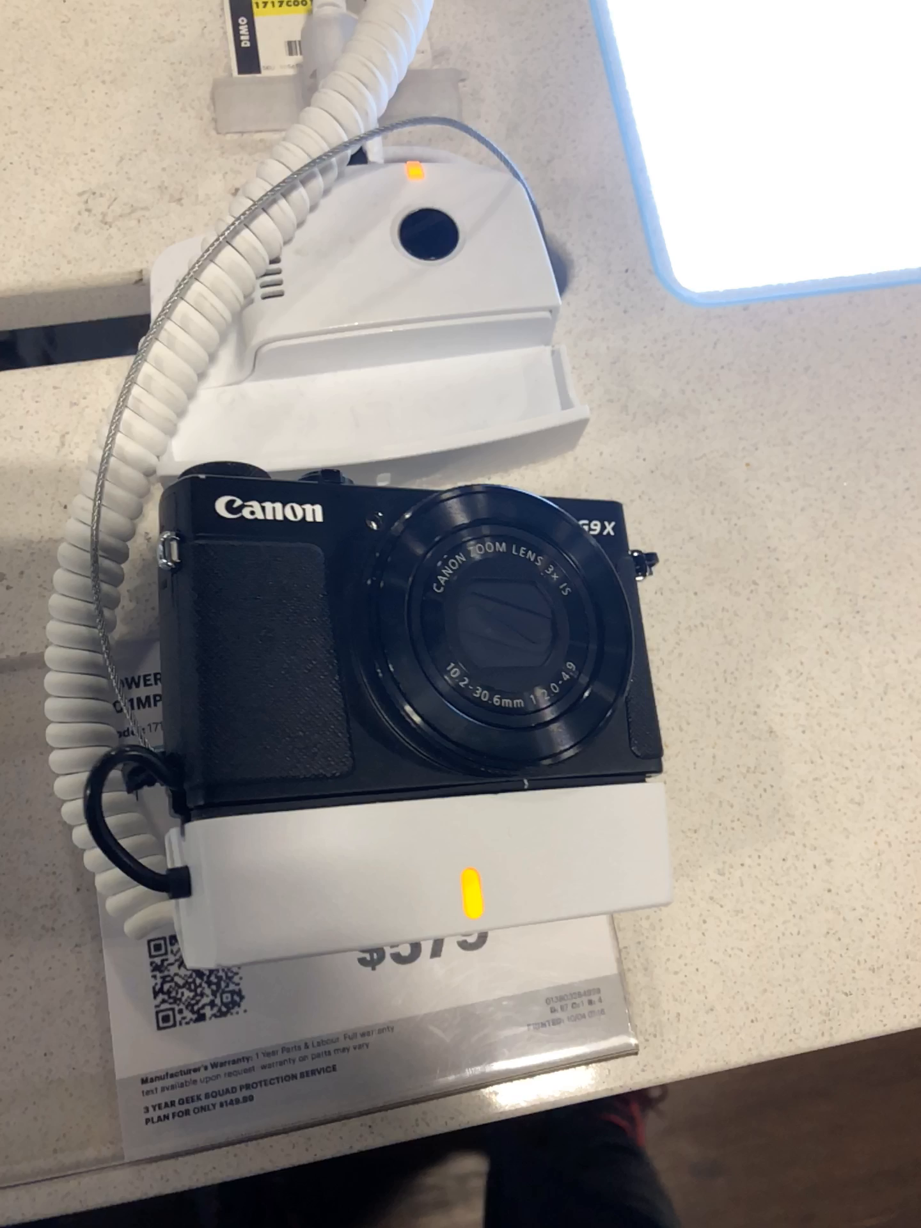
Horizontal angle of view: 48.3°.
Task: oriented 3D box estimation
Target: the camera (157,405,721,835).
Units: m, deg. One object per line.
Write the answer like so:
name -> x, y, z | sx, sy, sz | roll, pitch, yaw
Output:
camera -> -0.003, 0.001, 0.195 | 0.100, 0.020, 0.070 | 0, 74, -25
